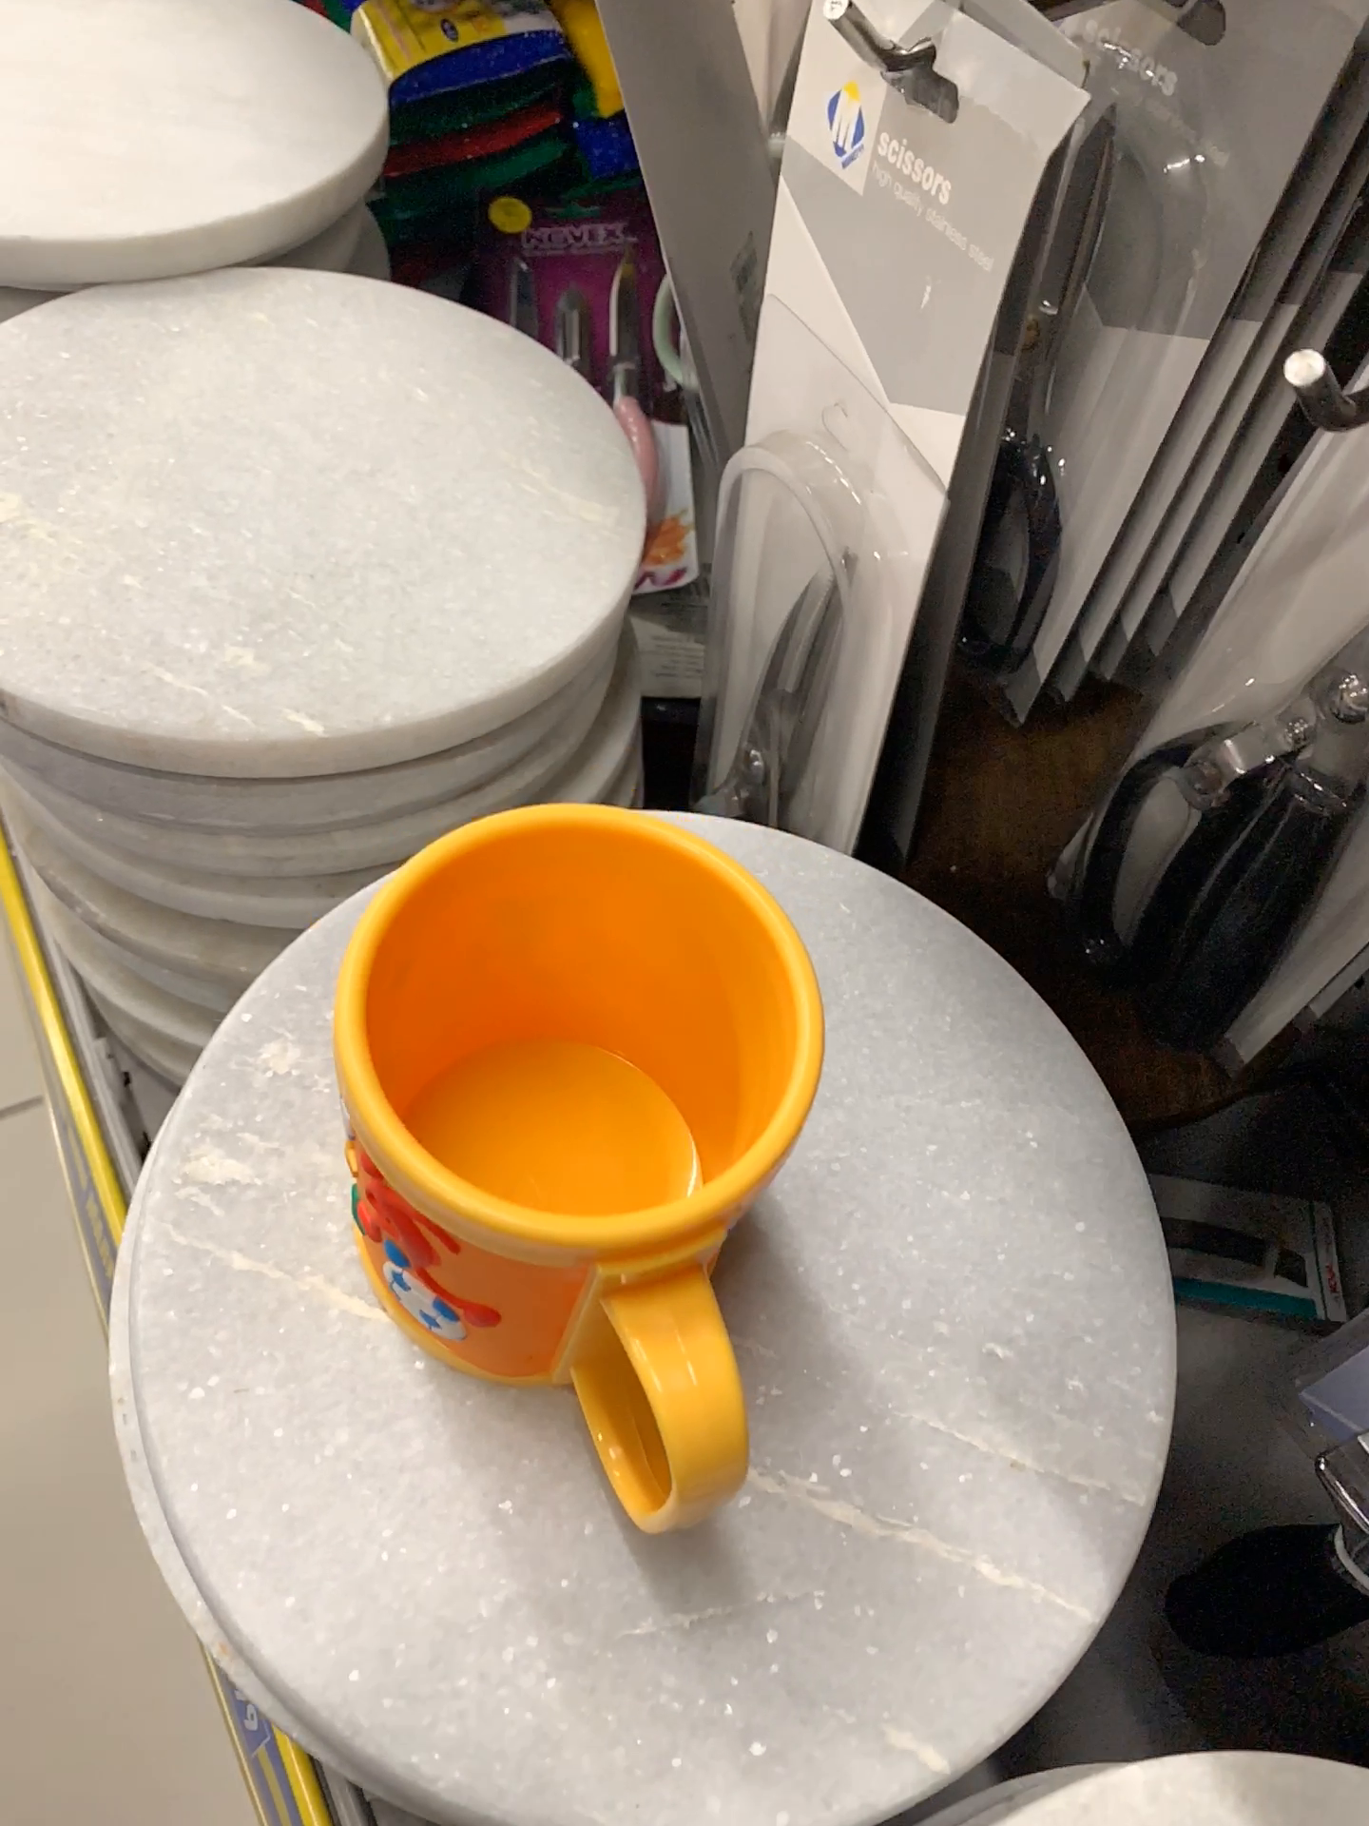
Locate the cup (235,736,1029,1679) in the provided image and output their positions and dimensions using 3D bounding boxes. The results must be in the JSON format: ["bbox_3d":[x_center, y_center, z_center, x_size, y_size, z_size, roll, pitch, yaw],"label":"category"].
[{"bbox_3d":[-0.018,0.051,0.244,0.080,0.100,0.110,-15,59,-18],"label":"cup"}]
